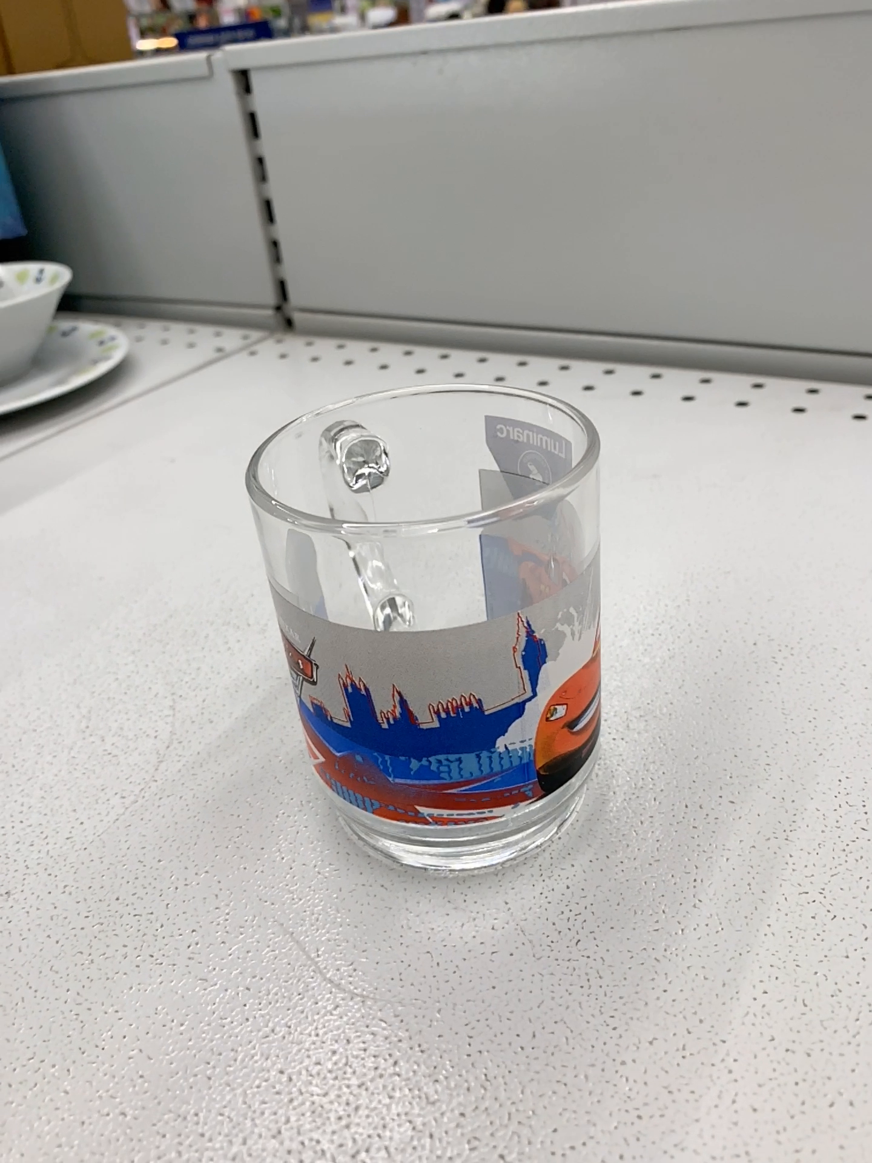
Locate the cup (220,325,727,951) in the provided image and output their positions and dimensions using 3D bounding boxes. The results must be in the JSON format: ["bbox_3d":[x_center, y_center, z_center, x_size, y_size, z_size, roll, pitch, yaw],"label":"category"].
[{"bbox_3d":[0.002,0.002,0.200,0.072,0.081,0.102,-13,31,-11],"label":"cup"}]
